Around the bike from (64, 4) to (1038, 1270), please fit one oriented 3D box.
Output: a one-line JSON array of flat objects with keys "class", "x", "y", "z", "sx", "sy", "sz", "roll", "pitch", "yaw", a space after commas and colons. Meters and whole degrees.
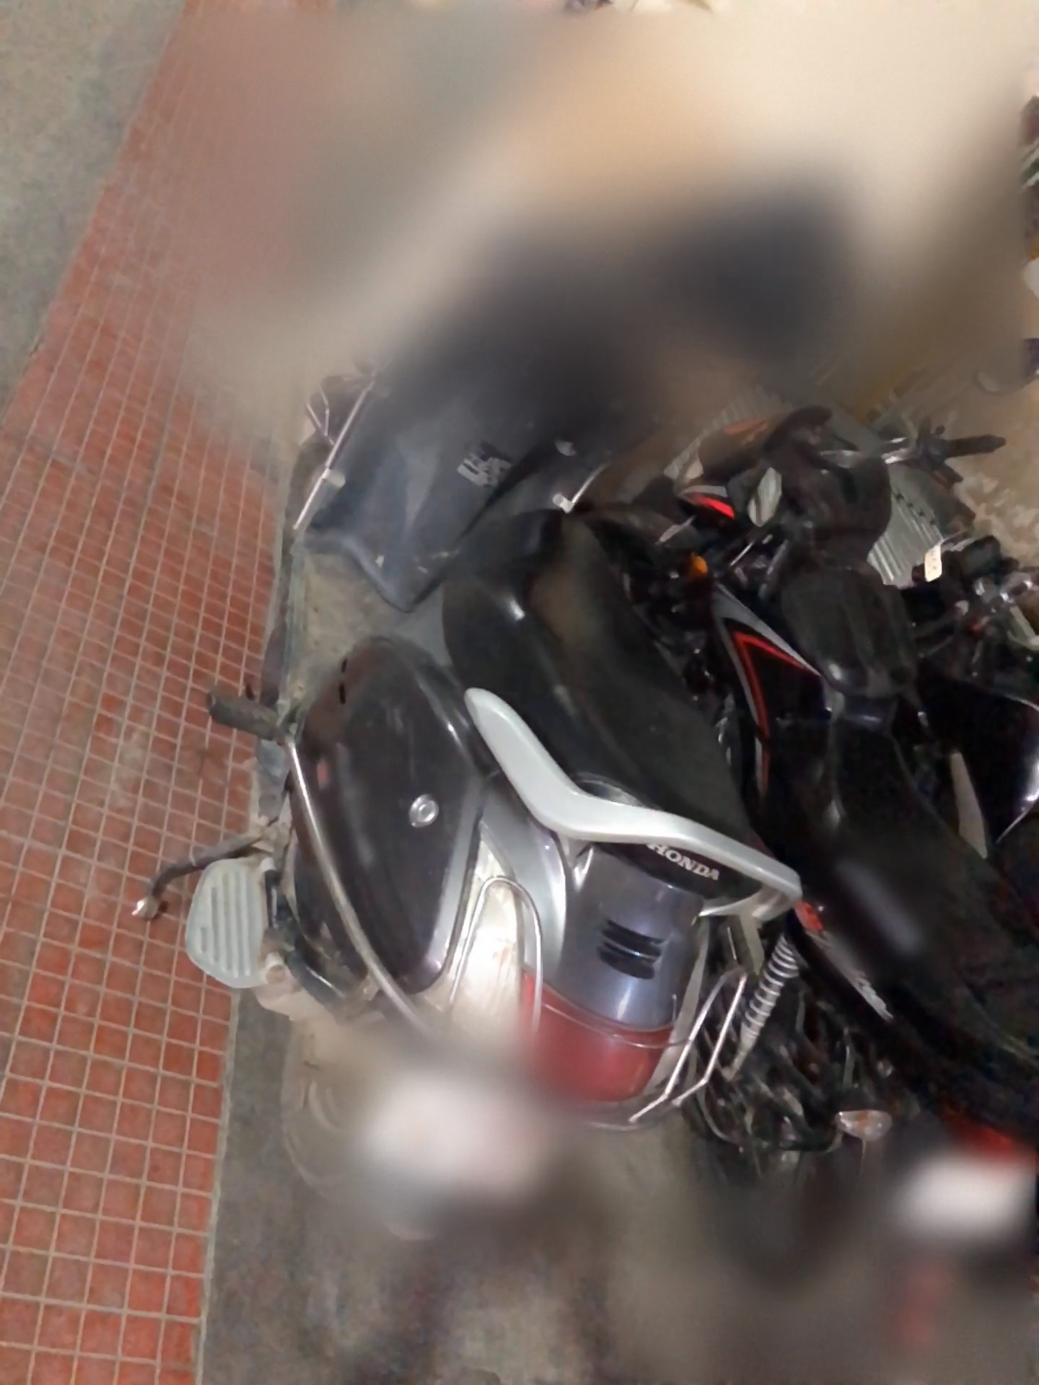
[{"class": "bike", "x": -0.142, "y": -0.141, "z": 1.680, "sx": 0.596, "sy": 0.989, "sz": 1.498, "roll": 22, "pitch": 36, "yaw": -34}]
